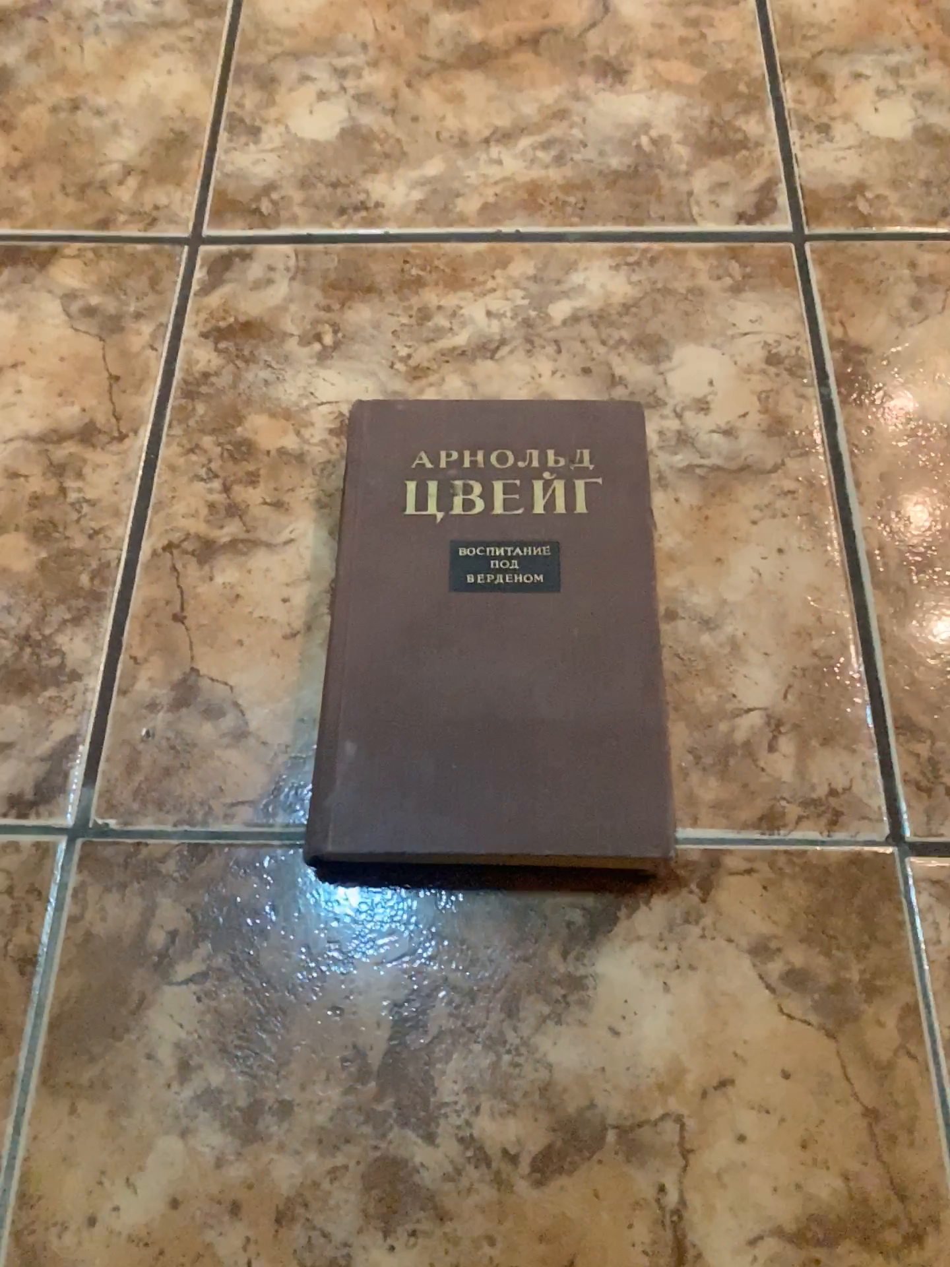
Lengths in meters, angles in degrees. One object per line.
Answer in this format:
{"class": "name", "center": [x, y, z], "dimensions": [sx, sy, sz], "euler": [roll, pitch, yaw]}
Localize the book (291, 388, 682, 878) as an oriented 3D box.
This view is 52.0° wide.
{"class": "book", "center": [0.007, -0.008, 0.404], "dimensions": [0.139, 0.034, 0.206], "euler": [1, 65, 2]}
